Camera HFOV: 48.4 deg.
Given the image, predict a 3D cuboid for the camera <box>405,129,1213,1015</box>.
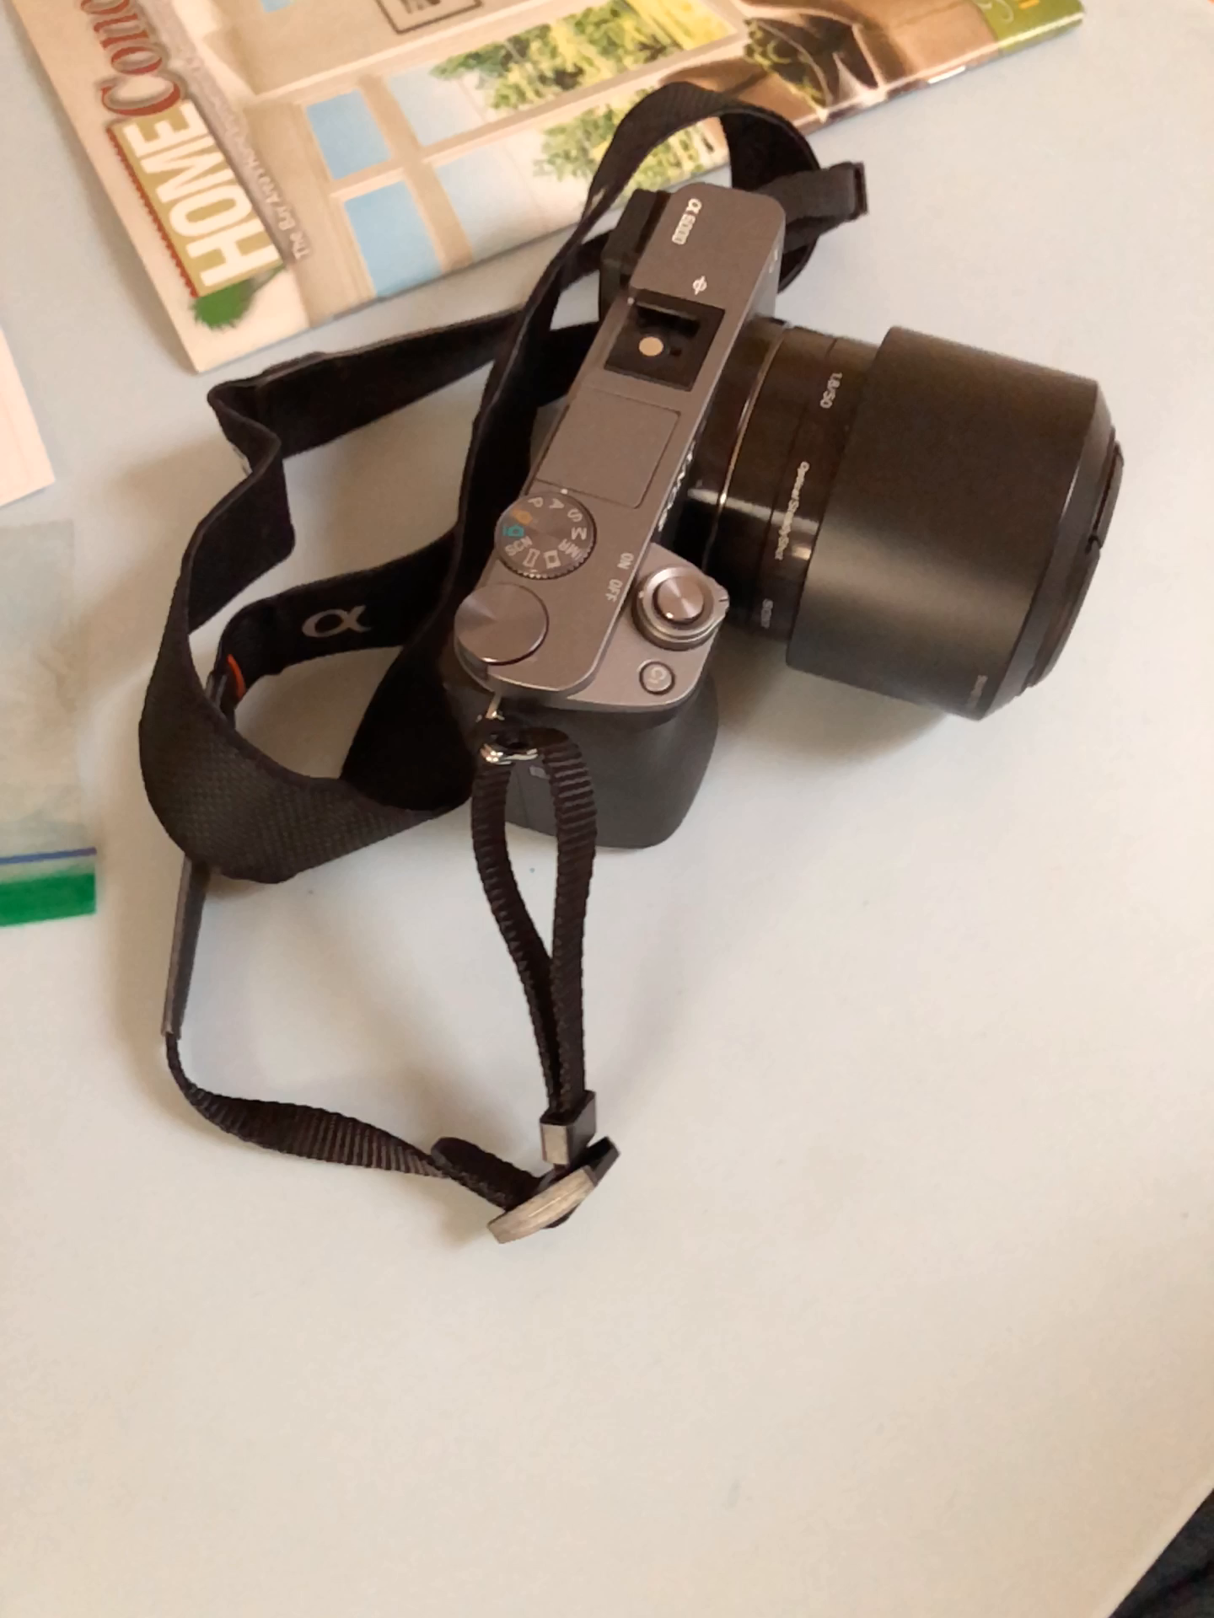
[{"bbox_3d":[0.042,-0.047,0.266,0.110,0.070,0.130,20,67,9],"label":"camera"}]
